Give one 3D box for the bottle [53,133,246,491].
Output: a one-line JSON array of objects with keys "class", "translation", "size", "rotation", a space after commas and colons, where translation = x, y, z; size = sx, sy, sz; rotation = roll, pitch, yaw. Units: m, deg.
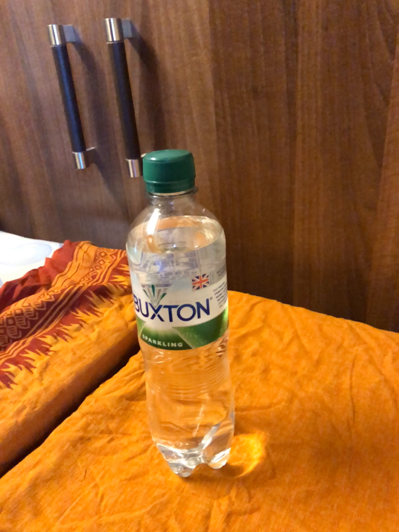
[{"class": "bottle", "translation": [-0.020, 0.033, 0.291], "size": [0.070, 0.218, 0.070], "rotation": [-4, 27, 2]}]
